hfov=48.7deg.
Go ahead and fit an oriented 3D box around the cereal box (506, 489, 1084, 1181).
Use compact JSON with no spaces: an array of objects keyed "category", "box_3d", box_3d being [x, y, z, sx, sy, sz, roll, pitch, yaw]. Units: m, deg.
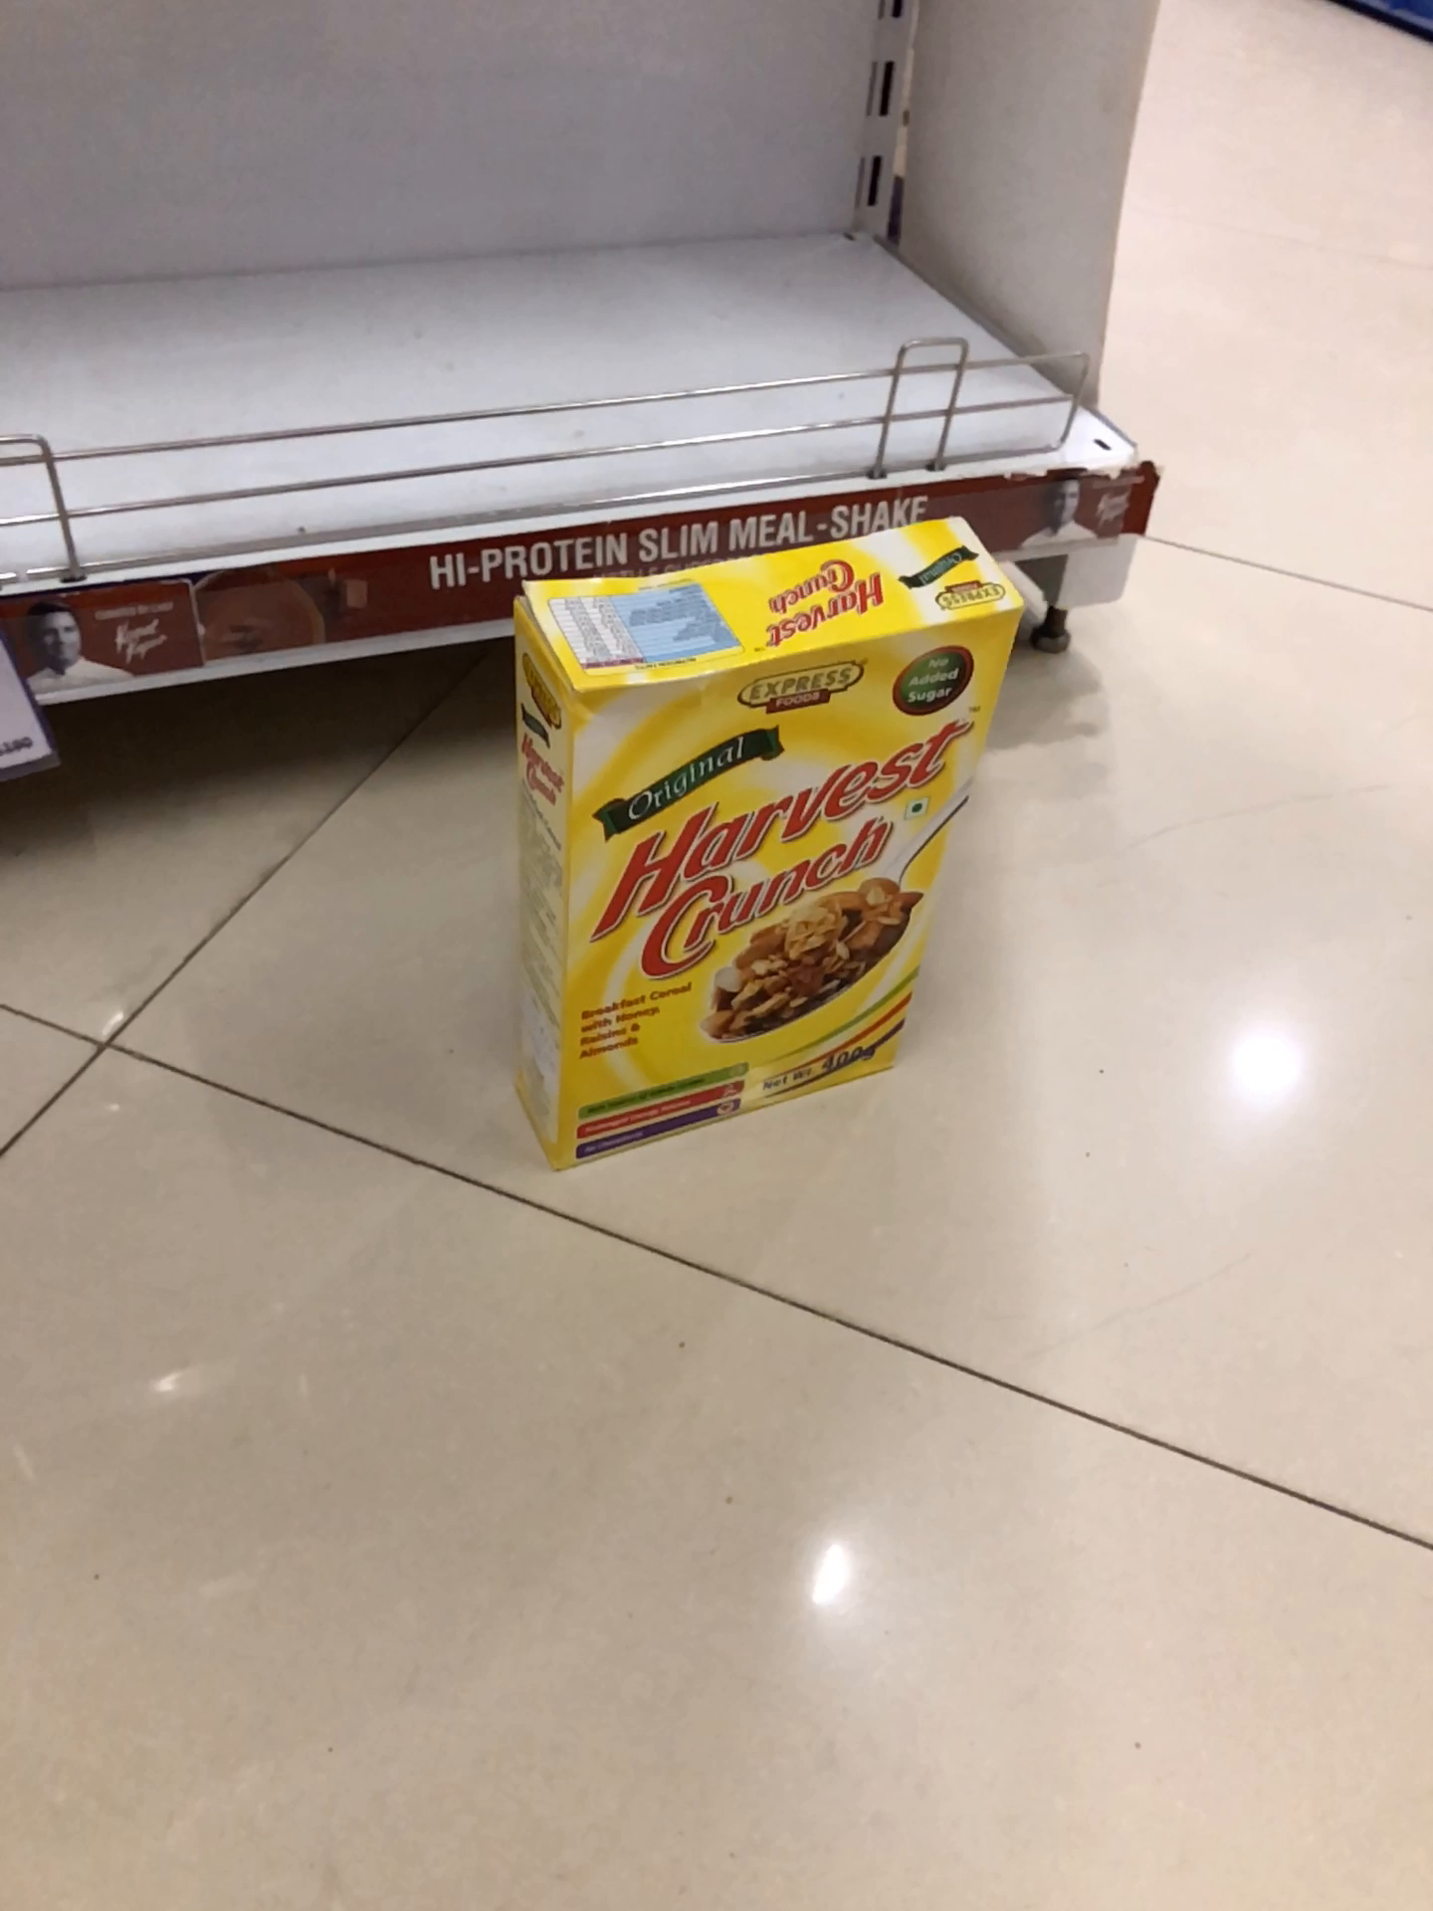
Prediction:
[{"category":"cereal box","box_3d":[0.018,-0.034,0.522,0.161,0.209,0.050,-16,47,-21]}]
